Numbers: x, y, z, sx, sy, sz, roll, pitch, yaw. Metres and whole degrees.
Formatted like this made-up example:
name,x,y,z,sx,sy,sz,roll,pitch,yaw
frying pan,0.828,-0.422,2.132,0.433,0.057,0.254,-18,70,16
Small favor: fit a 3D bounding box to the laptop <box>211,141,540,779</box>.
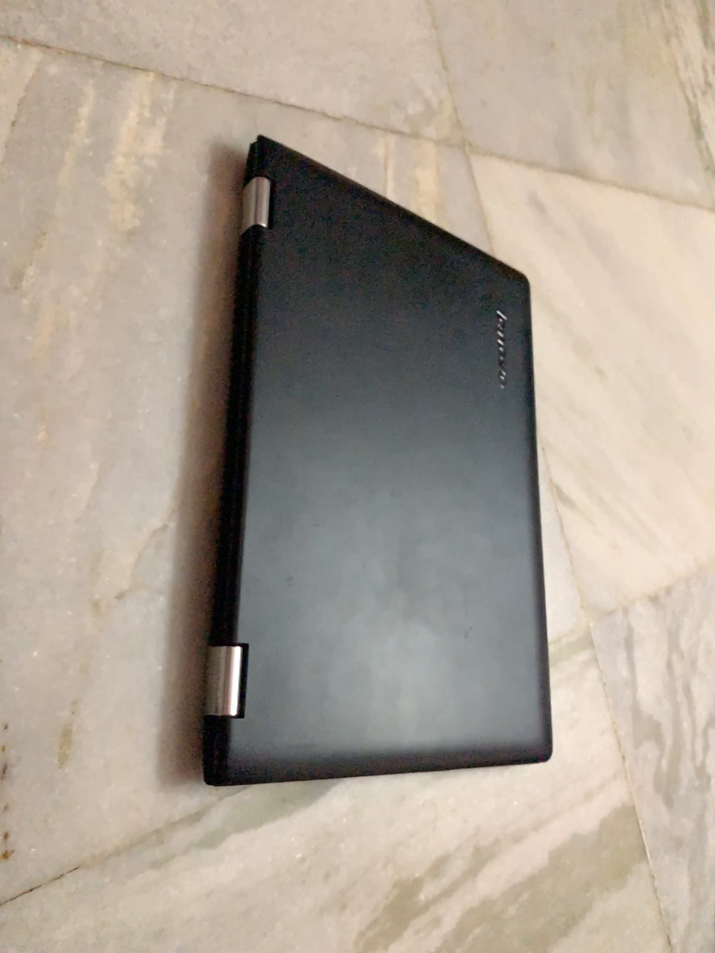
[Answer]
name,x,y,z,sx,sy,sz,roll,pitch,yaw
laptop,0.028,-0.007,0.428,0.224,0.001,0.325,13,71,-37
